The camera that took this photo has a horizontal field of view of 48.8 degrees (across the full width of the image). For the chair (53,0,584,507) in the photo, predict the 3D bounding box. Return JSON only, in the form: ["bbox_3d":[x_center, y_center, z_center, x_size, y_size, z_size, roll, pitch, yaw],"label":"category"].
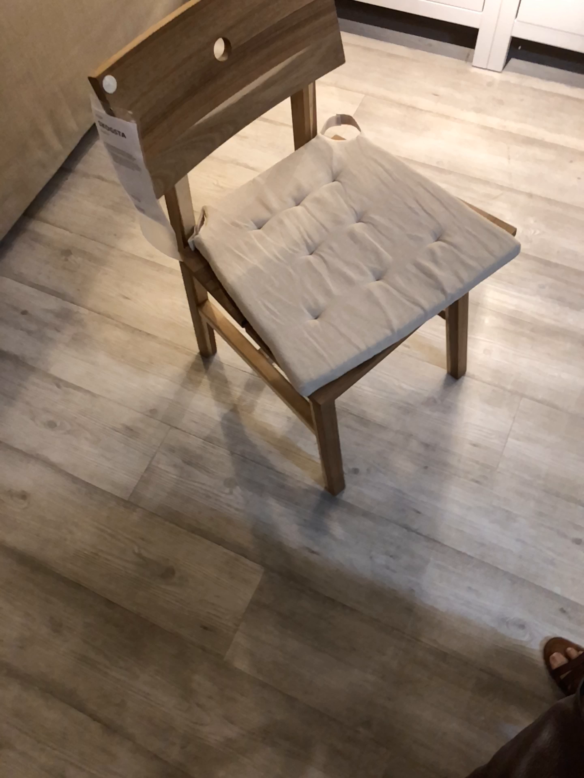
[{"bbox_3d":[0.087,-0.250,1.035,0.500,0.599,0.530,-42,68,-15],"label":"chair"}]
